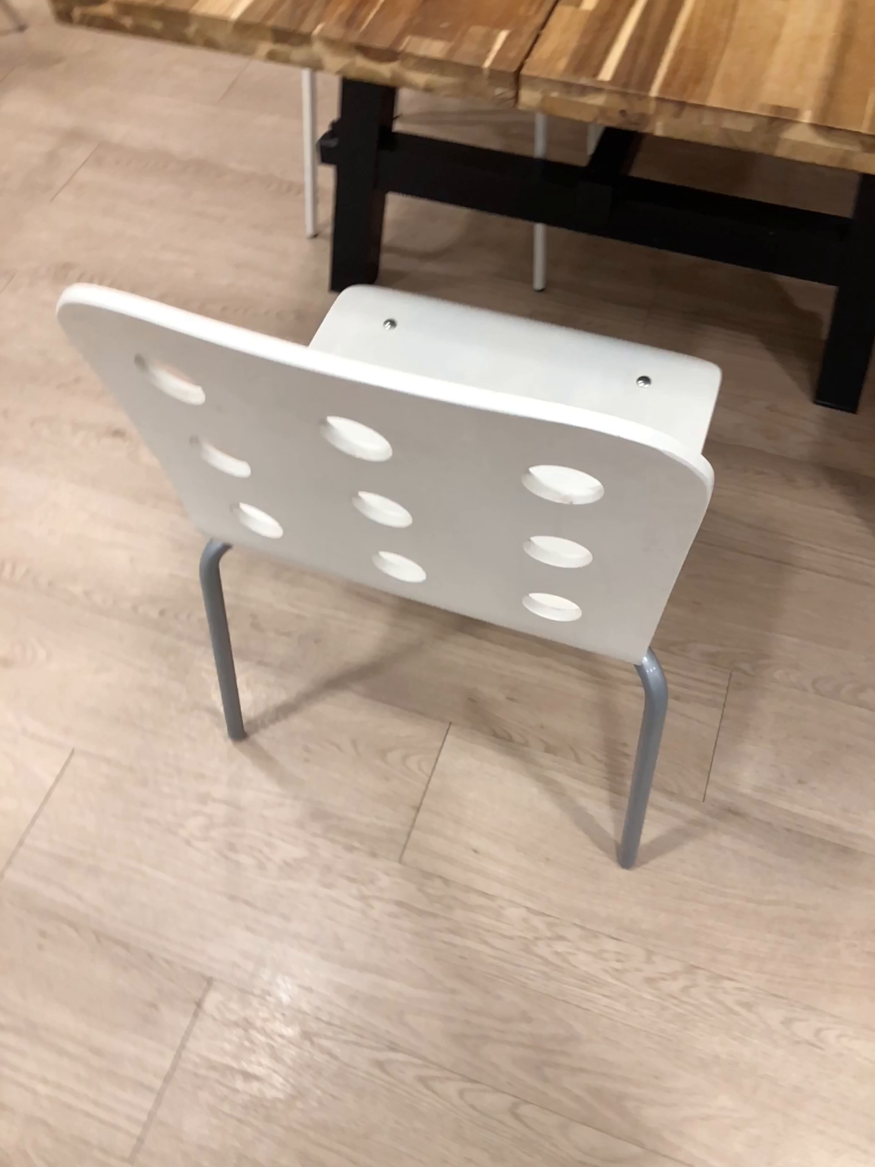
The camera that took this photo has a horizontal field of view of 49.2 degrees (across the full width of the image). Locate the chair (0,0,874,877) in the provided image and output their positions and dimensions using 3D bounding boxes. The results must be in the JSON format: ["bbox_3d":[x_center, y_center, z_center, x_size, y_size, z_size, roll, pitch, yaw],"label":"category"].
[{"bbox_3d":[0.048,-0.124,0.953,0.571,0.717,0.492,14,60,11],"label":"chair"}]
